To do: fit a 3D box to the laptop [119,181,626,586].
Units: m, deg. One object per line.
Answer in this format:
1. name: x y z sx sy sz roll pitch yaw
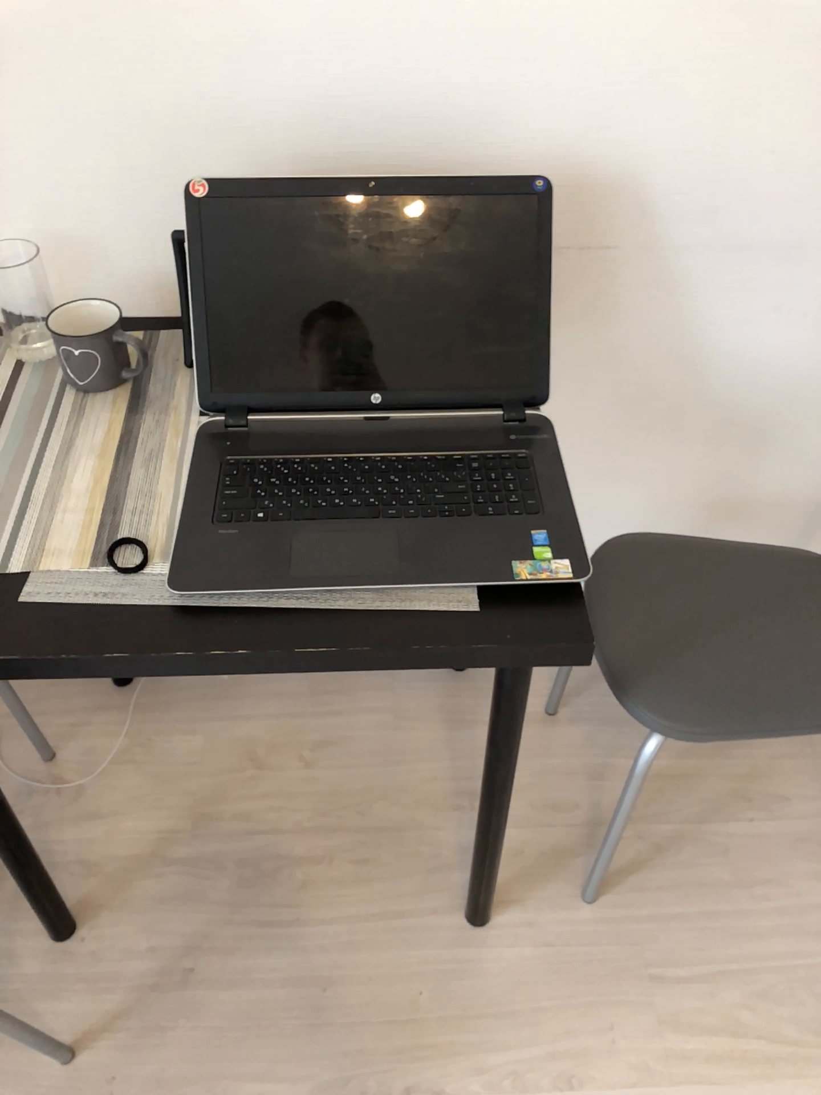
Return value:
1. laptop: -0.040 -0.192 0.969 0.415 0.227 0.414 -1 44 -2
